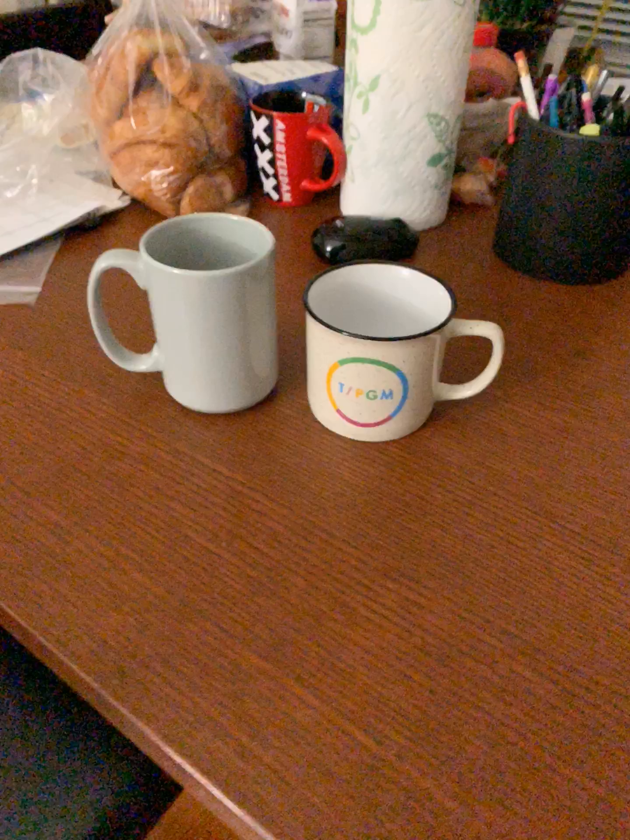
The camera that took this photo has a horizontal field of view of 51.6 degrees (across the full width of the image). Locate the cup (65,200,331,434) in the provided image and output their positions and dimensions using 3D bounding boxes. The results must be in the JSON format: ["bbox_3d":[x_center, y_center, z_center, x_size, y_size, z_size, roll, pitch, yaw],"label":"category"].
[{"bbox_3d":[-0.072,-0.075,0.453,0.140,0.099,0.100,13,42,13],"label":"cup"}]

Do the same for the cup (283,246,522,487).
[{"bbox_3d":[0.058,-0.040,0.442,0.130,0.099,0.100,14,43,14],"label":"cup"}]
